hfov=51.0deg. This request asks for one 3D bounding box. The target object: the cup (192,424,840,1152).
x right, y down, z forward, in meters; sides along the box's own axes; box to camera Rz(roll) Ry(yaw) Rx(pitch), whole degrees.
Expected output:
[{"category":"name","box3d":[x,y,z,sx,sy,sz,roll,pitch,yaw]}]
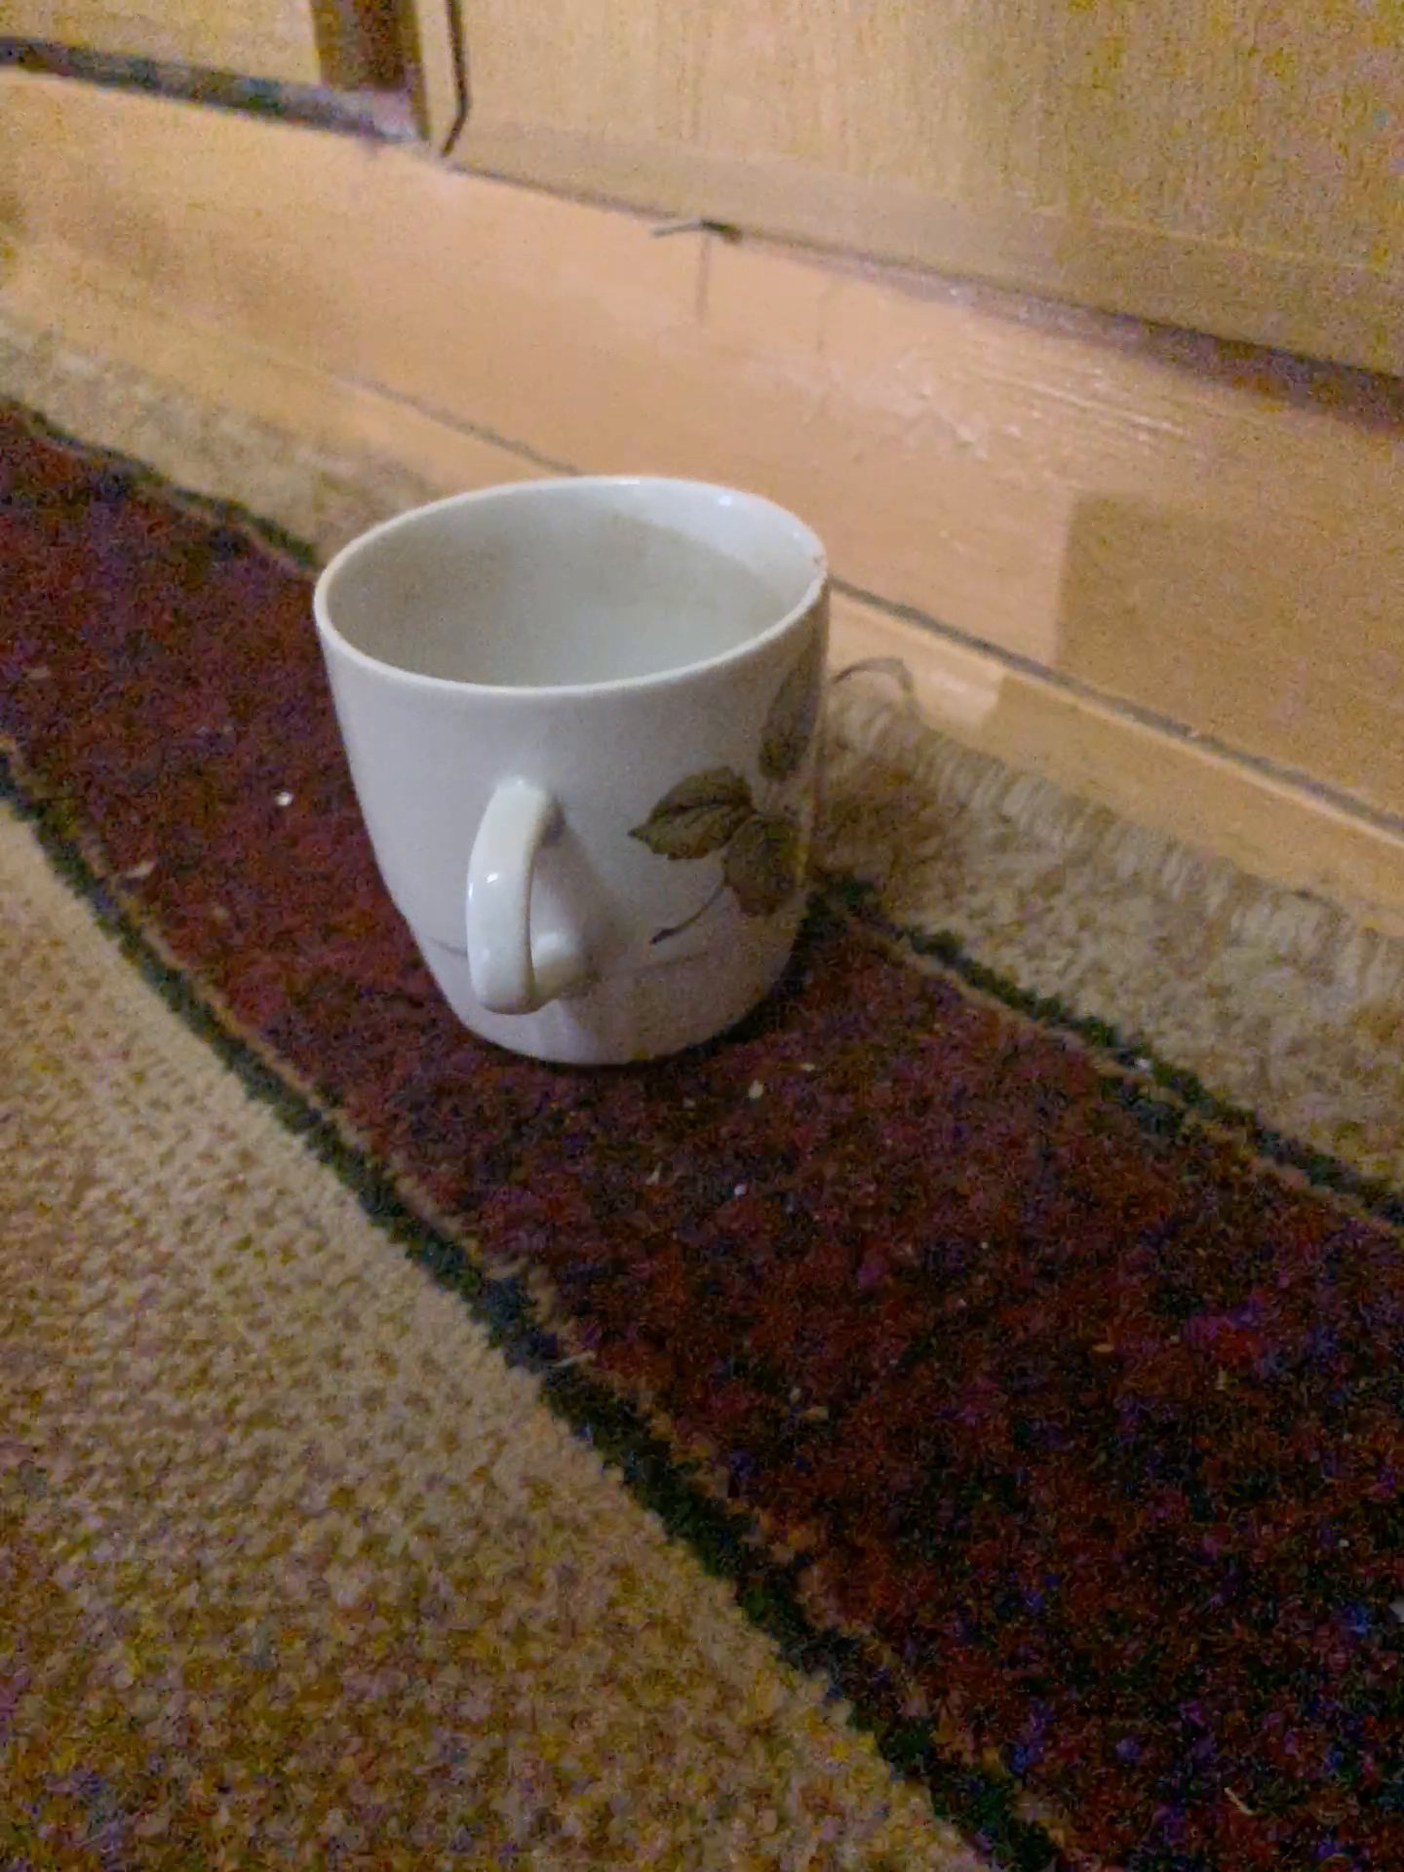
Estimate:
[{"category":"cup","box3d":[-0.021,-0.031,0.251,0.081,0.075,0.114,-1,36,2]}]
